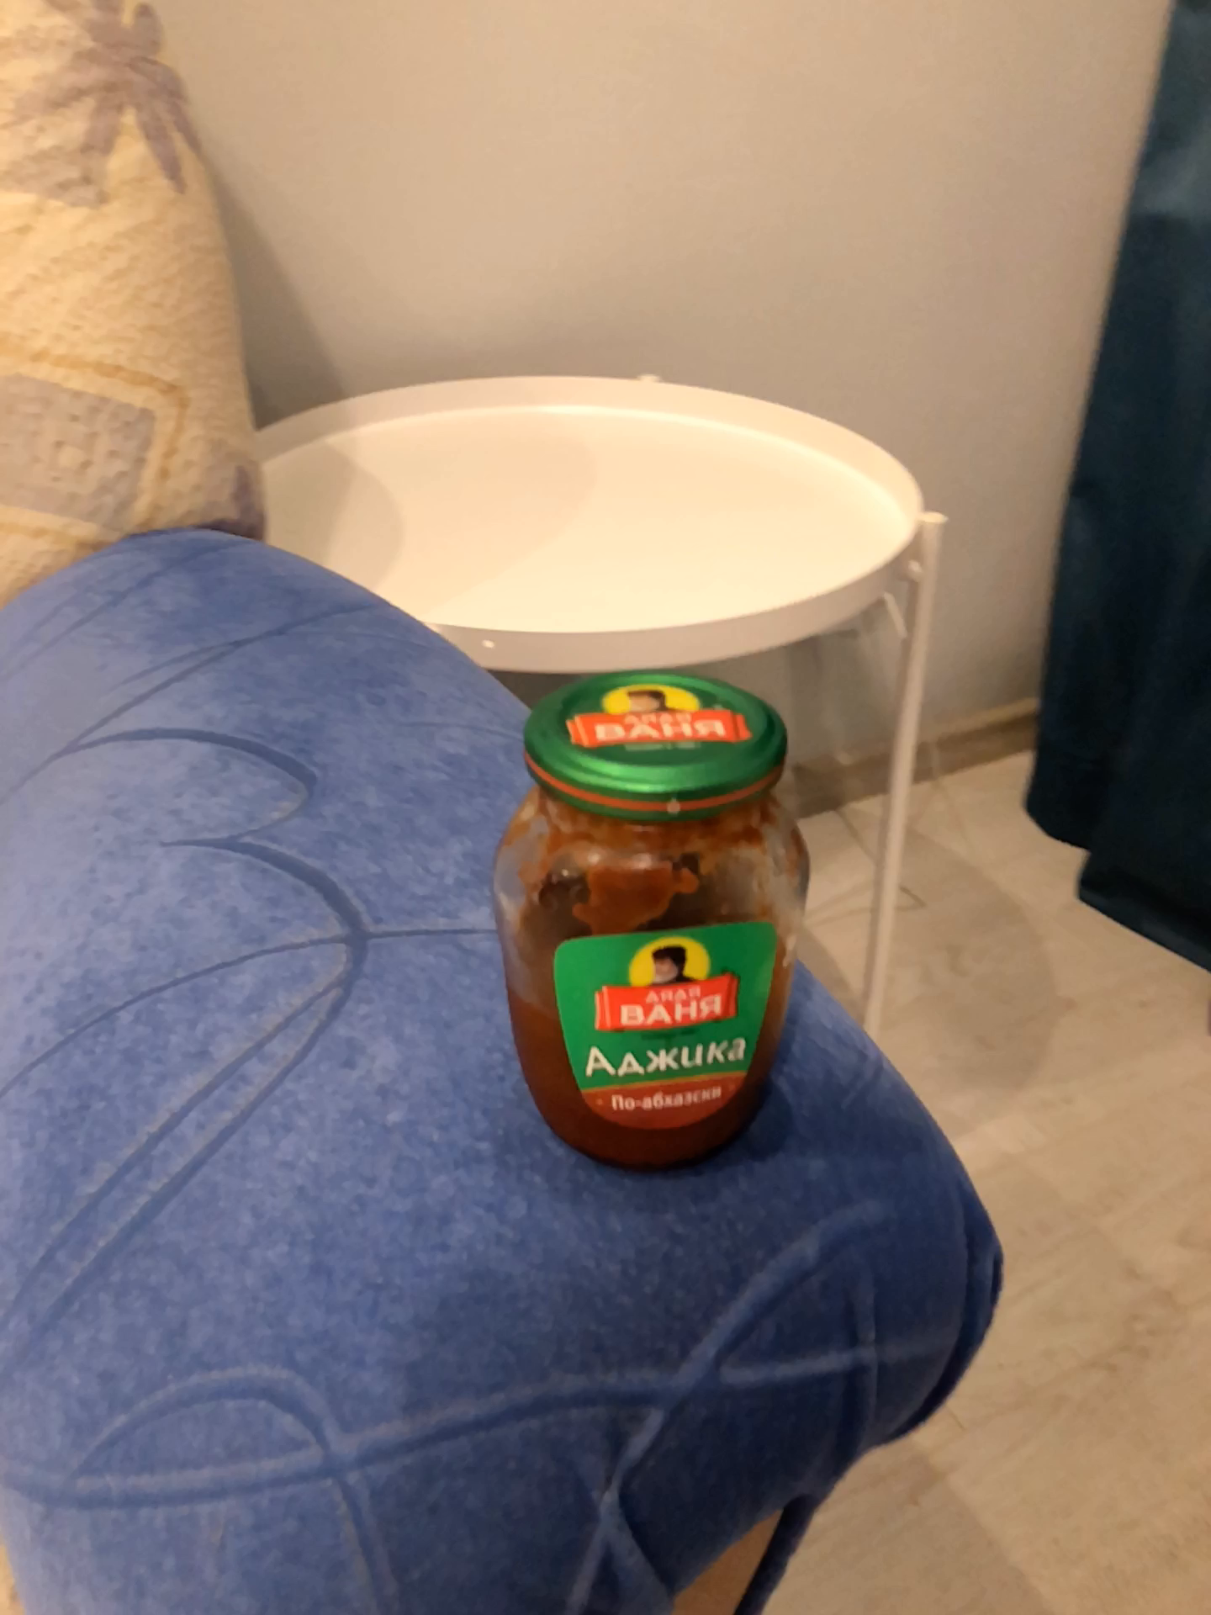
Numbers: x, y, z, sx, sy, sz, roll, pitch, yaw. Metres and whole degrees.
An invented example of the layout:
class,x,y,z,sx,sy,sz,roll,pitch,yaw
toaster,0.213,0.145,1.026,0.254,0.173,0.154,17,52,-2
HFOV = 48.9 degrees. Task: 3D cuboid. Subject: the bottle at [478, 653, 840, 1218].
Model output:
class,x,y,z,sx,sy,sz,roll,pitch,yaw
bottle,0.007,0.024,0.267,0.060,0.092,0.060,0,29,0
